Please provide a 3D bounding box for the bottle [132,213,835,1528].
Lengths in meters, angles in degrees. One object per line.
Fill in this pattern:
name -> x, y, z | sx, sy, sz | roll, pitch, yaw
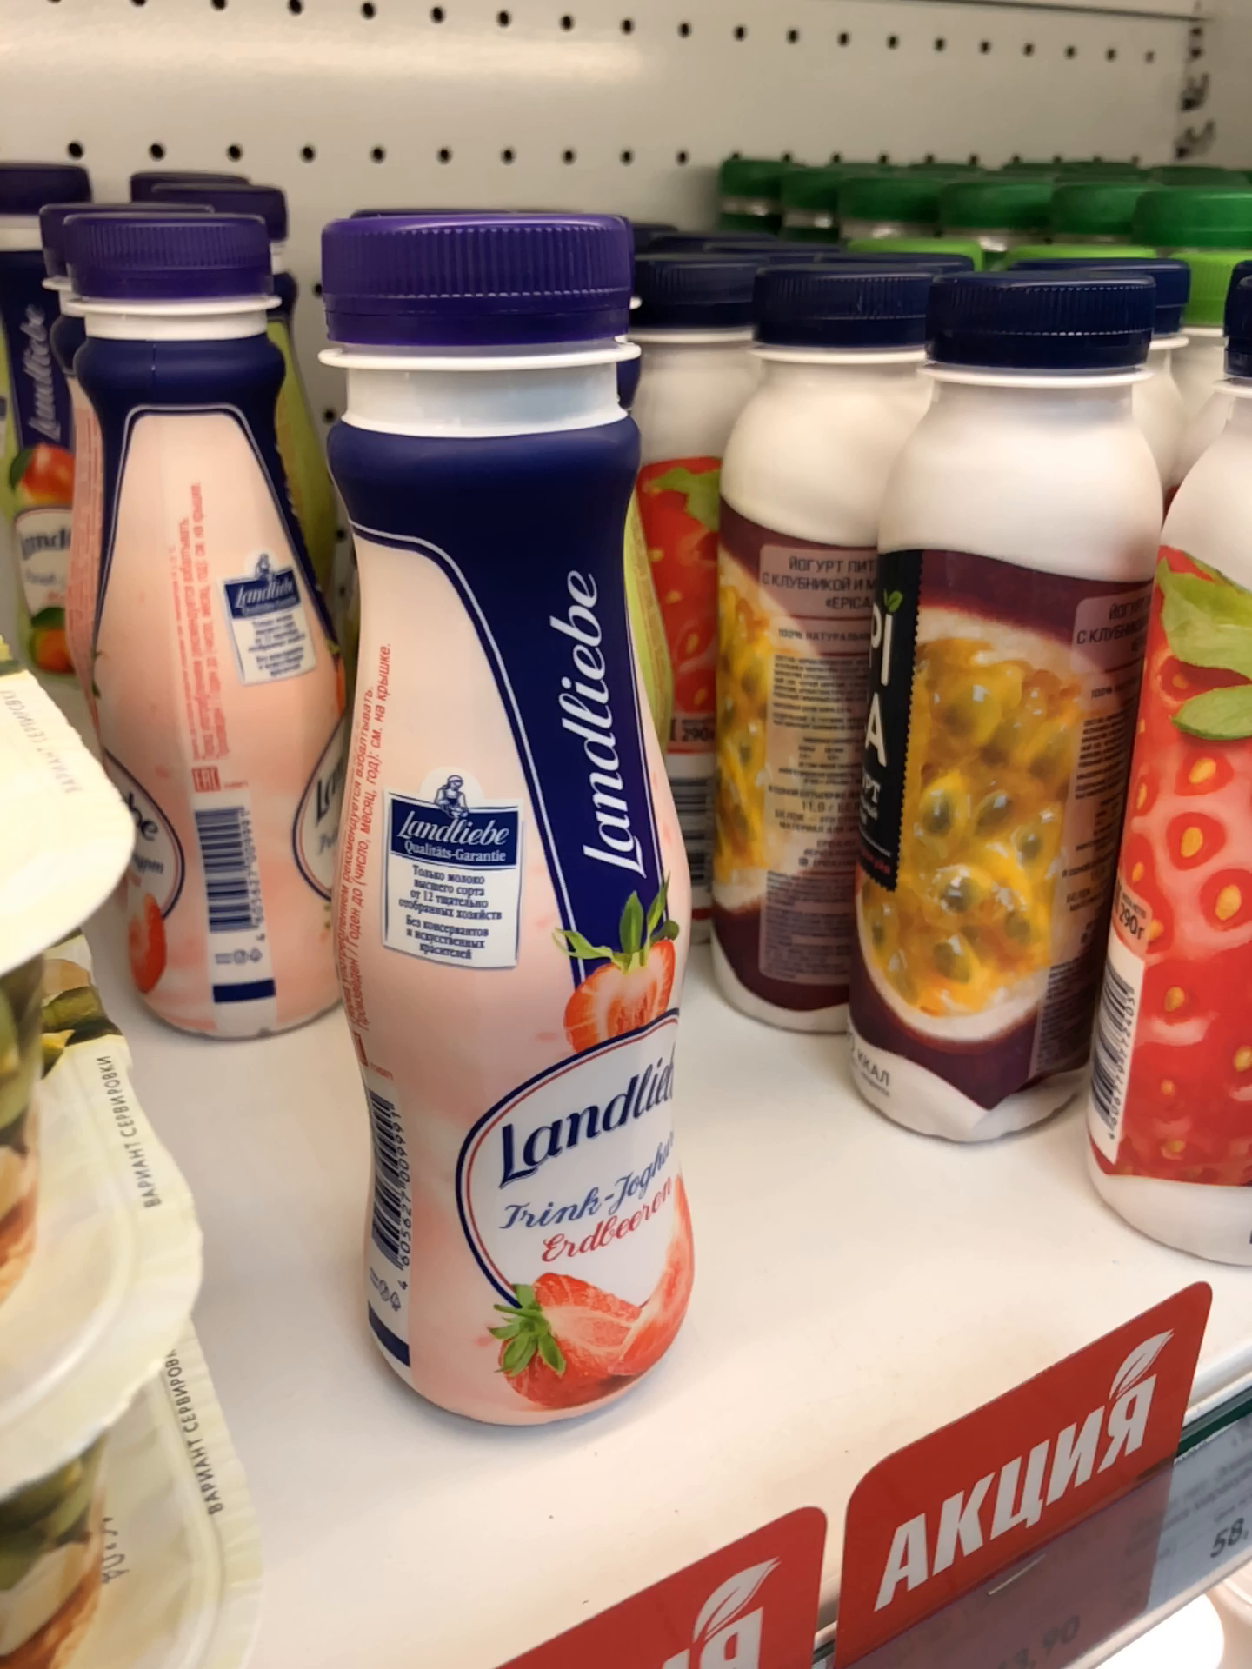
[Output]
bottle -> -0.021, 0.004, 0.227 | 0.070, 0.189, 0.070 | 0, 24, 0
